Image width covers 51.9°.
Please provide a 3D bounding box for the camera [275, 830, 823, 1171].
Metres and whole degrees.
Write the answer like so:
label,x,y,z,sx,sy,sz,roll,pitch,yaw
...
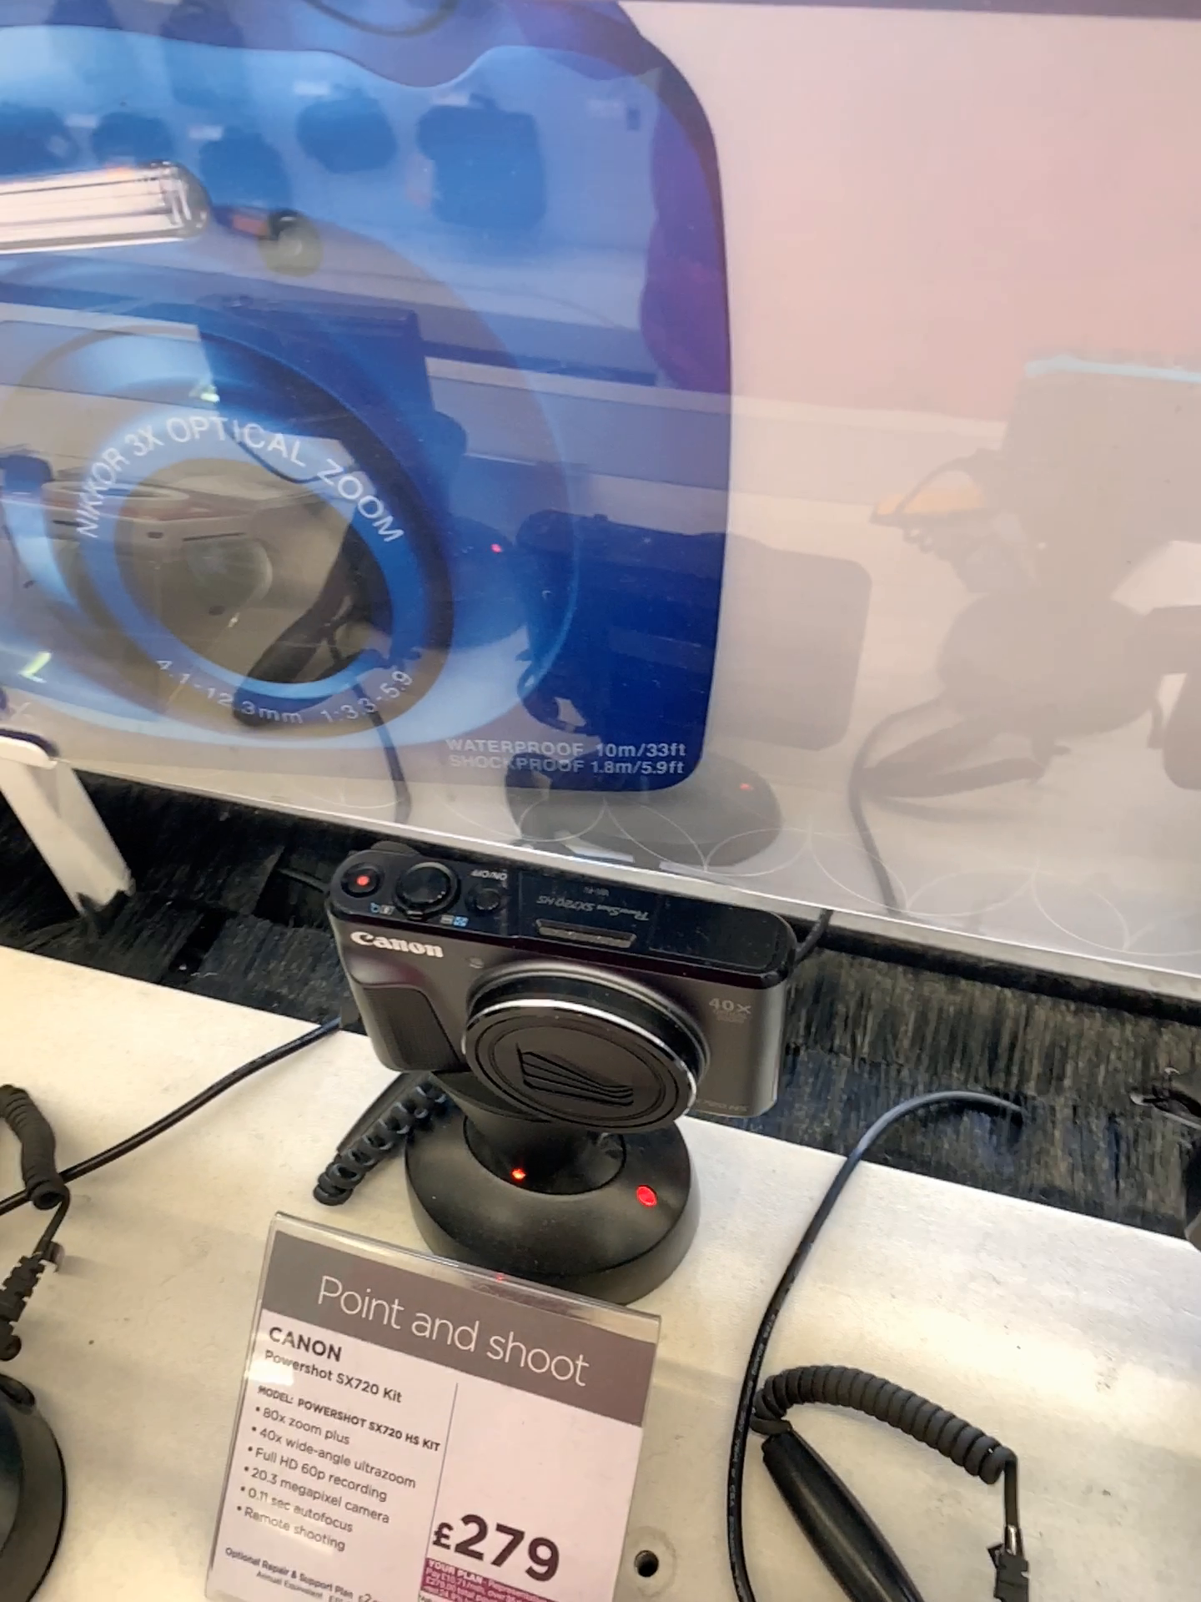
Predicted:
label,x,y,z,sx,sy,sz,roll,pitch,yaw
camera,-0.010,0.046,0.285,0.113,0.061,0.031,9,50,11
